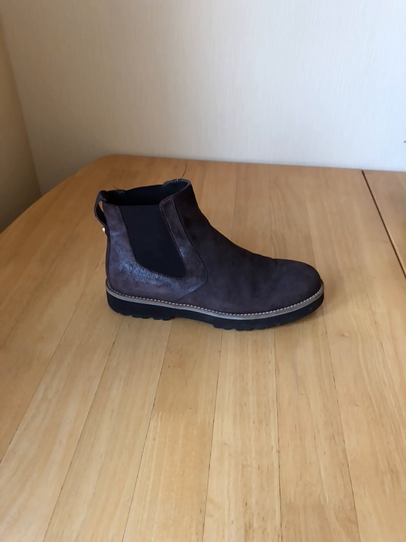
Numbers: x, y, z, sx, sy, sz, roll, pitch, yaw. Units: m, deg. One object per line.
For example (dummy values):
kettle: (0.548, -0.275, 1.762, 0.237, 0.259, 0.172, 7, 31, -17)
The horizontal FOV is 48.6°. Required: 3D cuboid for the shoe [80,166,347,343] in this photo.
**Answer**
shoe: (0.011, -0.019, 0.444, 0.220, 0.120, 0.100, 5, 37, 6)
